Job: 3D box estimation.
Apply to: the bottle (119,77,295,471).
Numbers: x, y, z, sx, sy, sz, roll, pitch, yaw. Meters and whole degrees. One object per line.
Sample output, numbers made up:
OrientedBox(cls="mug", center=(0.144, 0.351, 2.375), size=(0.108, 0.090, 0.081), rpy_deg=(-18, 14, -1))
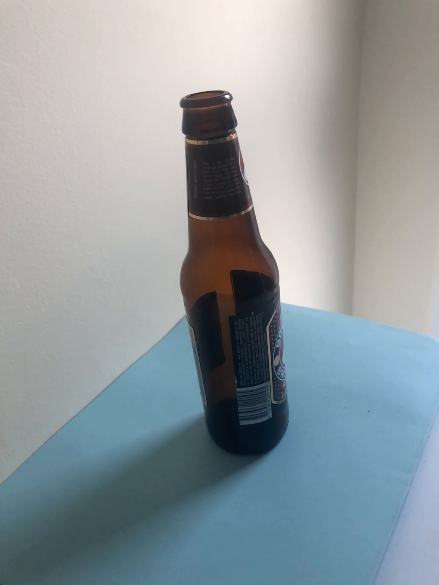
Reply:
OrientedBox(cls="bottle", center=(0.001, 0.000, 0.298), size=(0.070, 0.229, 0.070), rpy_deg=(-5, 30, 3))
